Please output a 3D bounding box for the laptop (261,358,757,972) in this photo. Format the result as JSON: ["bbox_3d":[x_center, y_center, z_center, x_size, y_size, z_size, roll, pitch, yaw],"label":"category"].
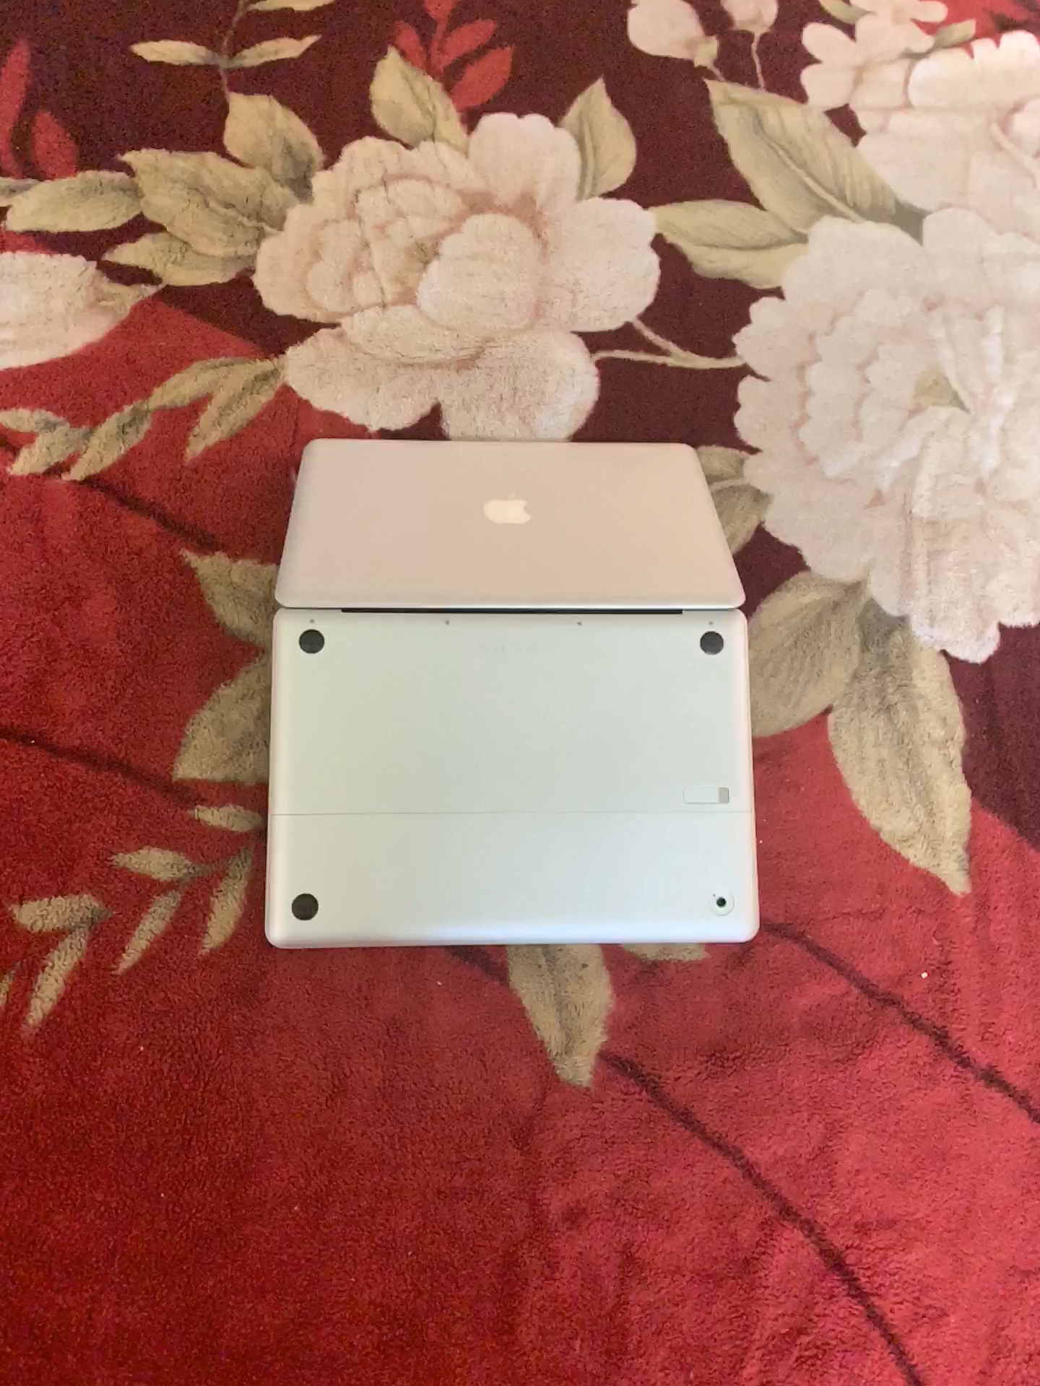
[{"bbox_3d":[-0.006,-0.017,0.741,0.316,0.078,0.390,0,81,-4],"label":"laptop"}]
